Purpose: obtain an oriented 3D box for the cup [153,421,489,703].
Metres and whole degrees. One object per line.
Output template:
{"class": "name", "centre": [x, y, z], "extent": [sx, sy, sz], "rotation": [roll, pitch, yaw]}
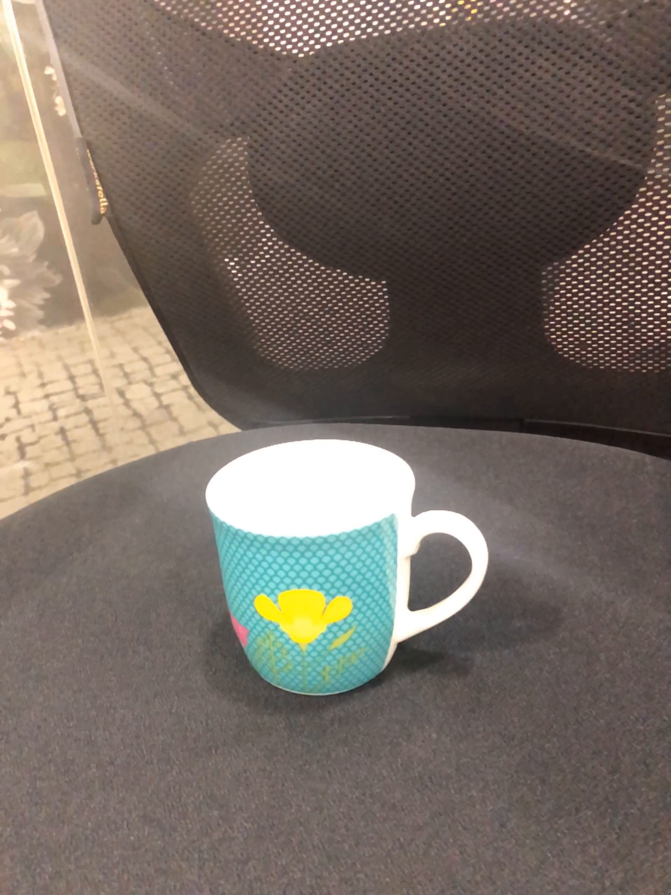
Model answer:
{"class": "cup", "centre": [0.000, 0.043, 0.291], "extent": [0.110, 0.080, 0.070], "rotation": [-2, 29, 7]}
